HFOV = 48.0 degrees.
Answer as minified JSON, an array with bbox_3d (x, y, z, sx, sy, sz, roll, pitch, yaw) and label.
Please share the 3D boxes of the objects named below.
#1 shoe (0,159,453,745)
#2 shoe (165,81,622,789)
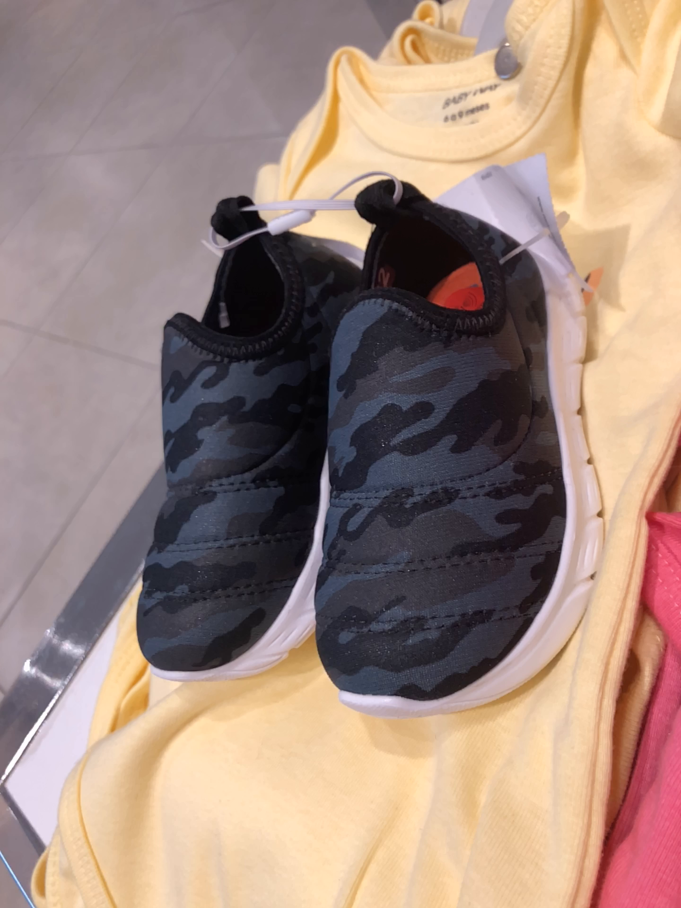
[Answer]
[{"bbox_3d":[-0.028,-0.001,0.243,0.070,0.080,0.150,-3,58,37],"label":"shoe"},{"bbox_3d":[0.025,-0.005,0.195,0.070,0.070,0.150,-10,54,33],"label":"shoe"}]
